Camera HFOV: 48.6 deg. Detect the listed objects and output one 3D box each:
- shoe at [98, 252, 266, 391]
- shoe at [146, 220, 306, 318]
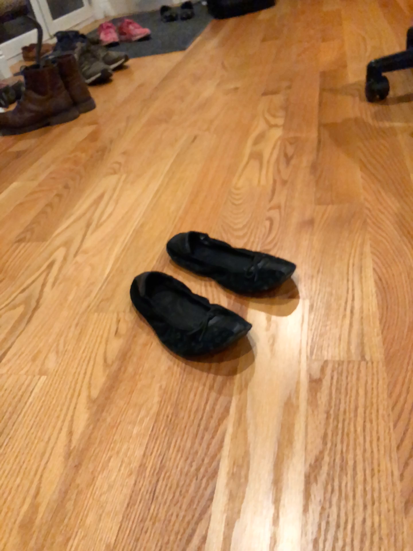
[{"bbox_3d":[-0.039,0.049,0.606,0.100,0.050,0.221,-34,41,-27],"label":"shoe"},{"bbox_3d":[0.025,-0.018,0.675,0.220,0.046,0.093,19,46,36],"label":"shoe"}]
